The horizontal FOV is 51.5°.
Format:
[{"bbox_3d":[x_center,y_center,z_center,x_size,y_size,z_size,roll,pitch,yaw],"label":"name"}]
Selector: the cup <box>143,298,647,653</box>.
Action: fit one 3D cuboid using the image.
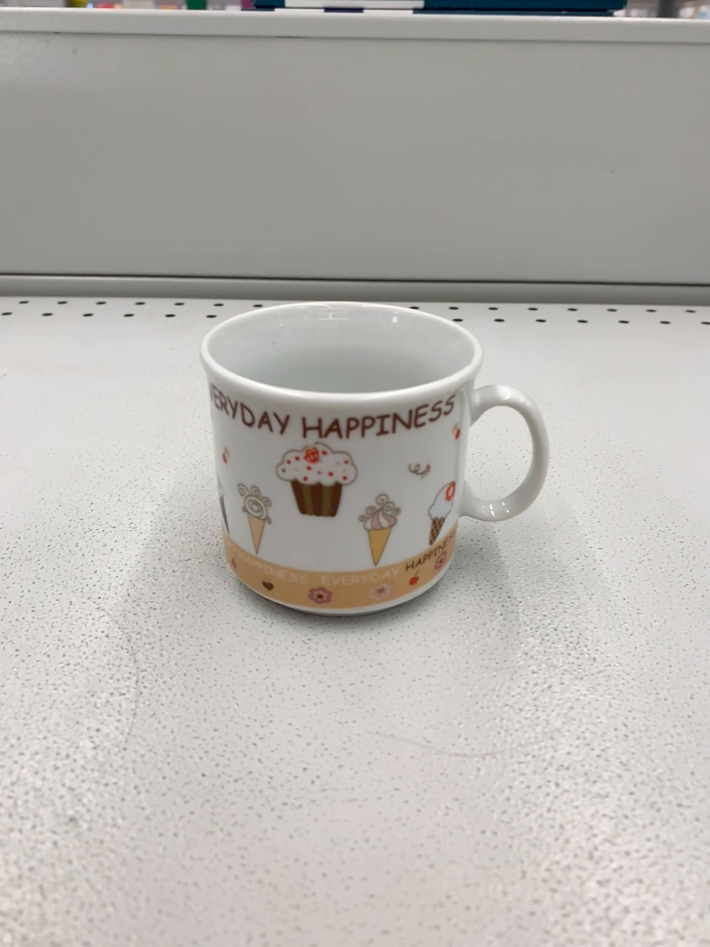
[{"bbox_3d":[0.009,-0.004,0.209,0.108,0.069,0.079,1,29,1],"label":"cup"}]
